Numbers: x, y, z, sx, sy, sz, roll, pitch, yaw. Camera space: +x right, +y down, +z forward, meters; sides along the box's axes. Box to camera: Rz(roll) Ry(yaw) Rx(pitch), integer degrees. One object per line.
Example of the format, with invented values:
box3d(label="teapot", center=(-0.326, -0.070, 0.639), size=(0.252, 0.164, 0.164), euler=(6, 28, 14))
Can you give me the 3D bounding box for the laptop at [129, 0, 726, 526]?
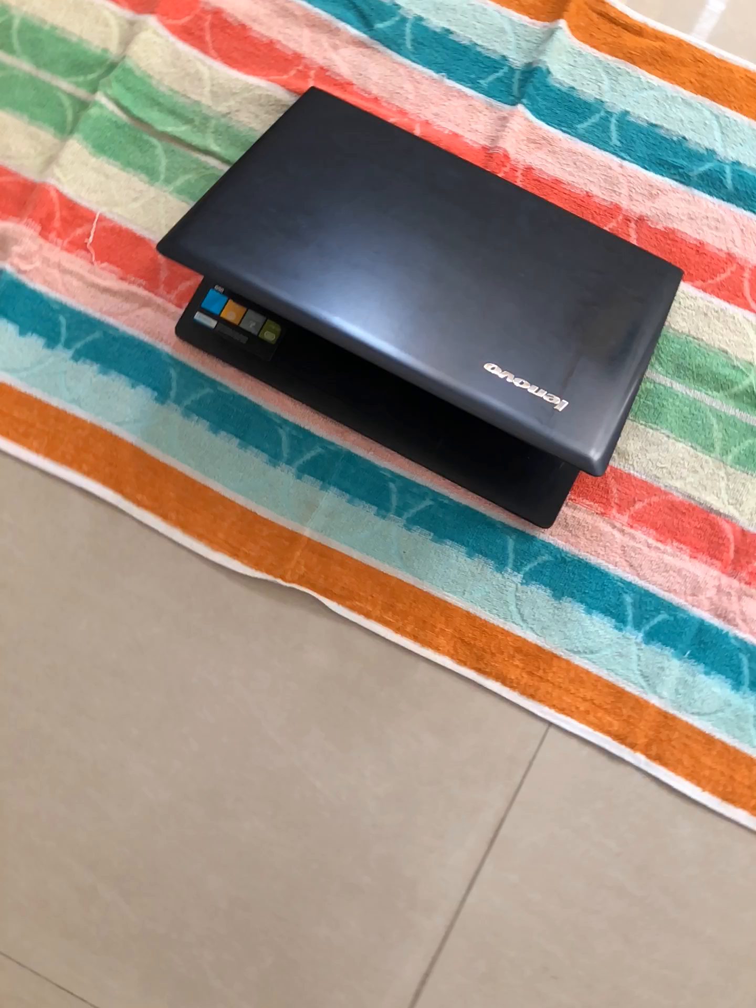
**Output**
box3d(label="laptop", center=(0.041, -0.184, 0.668), size=(0.363, 0.126, 0.253), euler=(28, 81, 3))
